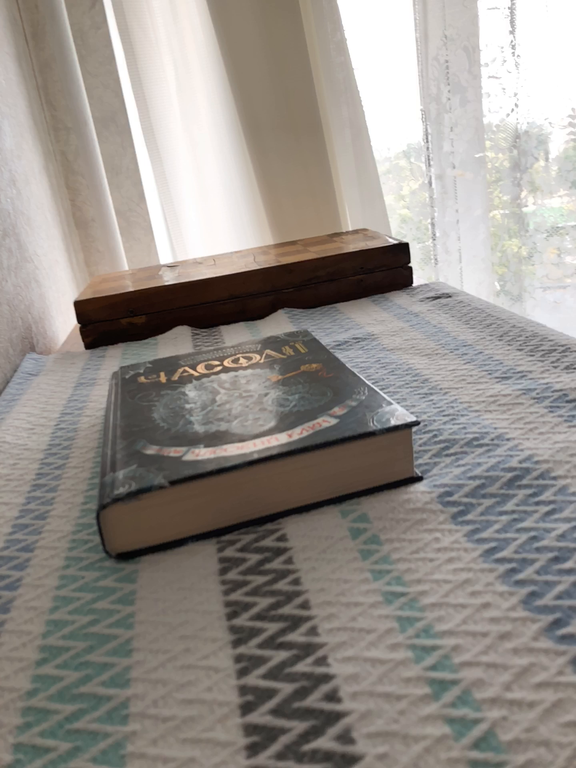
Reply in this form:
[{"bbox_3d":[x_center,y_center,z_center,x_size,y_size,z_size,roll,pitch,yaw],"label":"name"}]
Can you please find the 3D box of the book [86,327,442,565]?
[{"bbox_3d":[-0.035,0.018,0.424,0.178,0.032,0.239,-12,19,-11],"label":"book"}]
